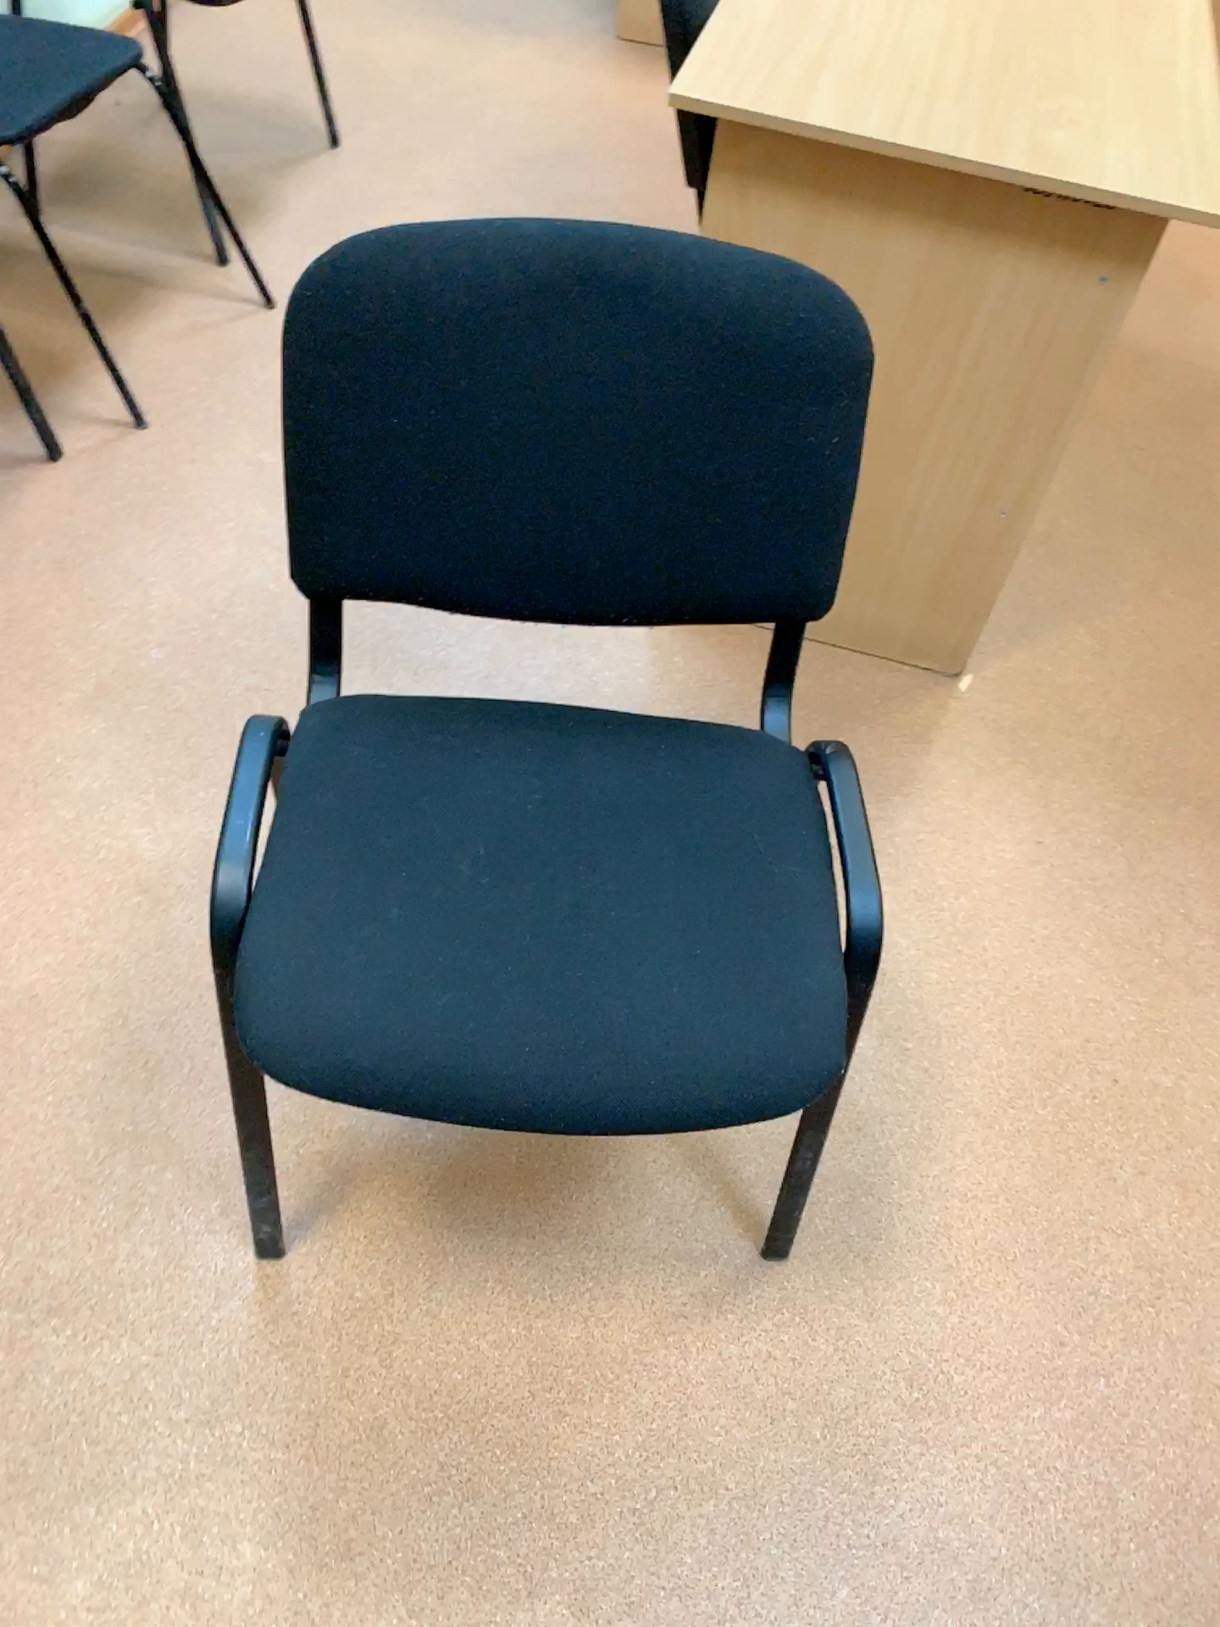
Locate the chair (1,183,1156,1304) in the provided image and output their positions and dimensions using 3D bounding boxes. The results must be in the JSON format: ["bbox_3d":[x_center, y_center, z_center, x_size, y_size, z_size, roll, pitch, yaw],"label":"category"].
[{"bbox_3d":[-0.045,0.004,1.106,0.574,0.784,0.595,4,52,-5],"label":"chair"}]
